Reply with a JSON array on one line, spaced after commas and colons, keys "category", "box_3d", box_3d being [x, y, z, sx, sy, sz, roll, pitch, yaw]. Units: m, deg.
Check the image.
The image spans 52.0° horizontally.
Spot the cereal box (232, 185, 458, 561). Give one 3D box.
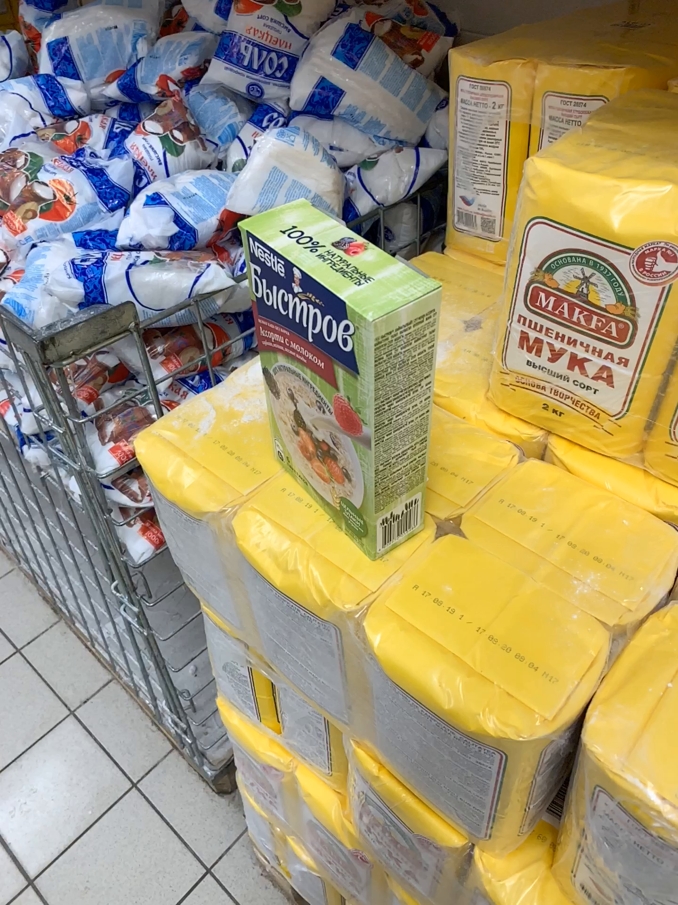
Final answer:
[{"category": "cereal box", "box_3d": [0.005, -0.041, 0.404, 0.050, 0.178, 0.121, -29, 50, -21]}]
